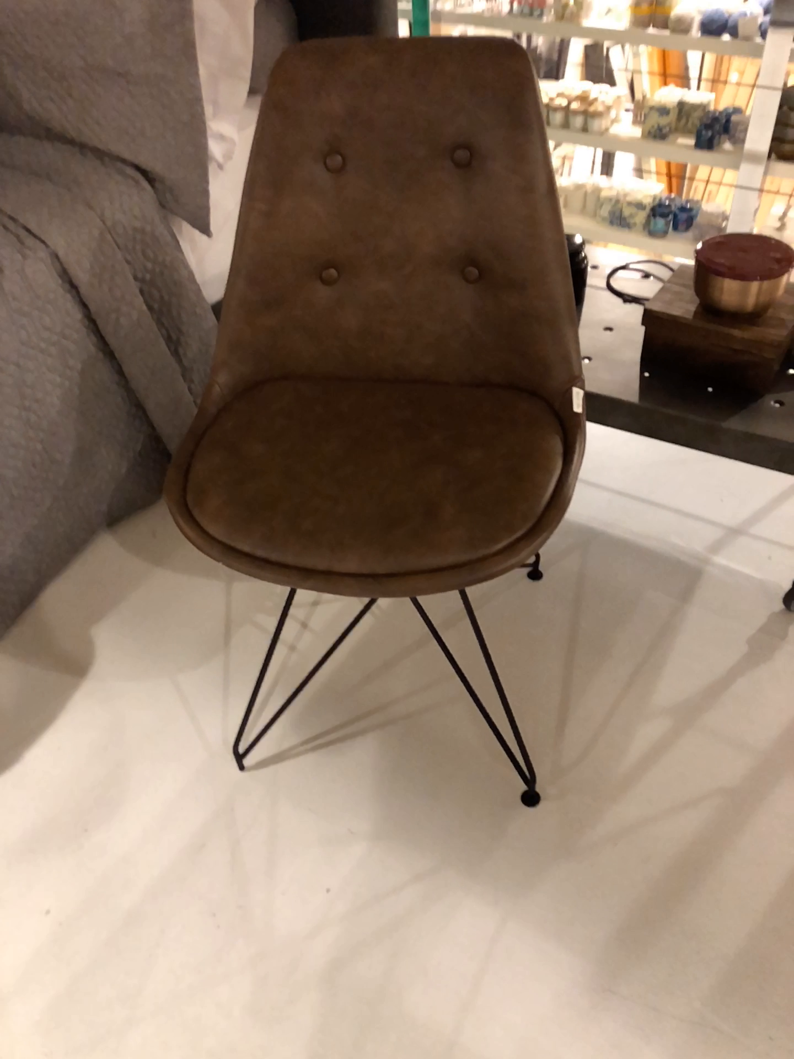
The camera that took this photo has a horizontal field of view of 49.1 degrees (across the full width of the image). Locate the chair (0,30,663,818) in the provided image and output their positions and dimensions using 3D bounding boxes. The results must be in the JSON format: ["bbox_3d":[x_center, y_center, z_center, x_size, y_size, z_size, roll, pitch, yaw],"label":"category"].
[{"bbox_3d":[-0.005,-0.121,1.082,0.510,0.755,0.554,5,43,9],"label":"chair"}]
